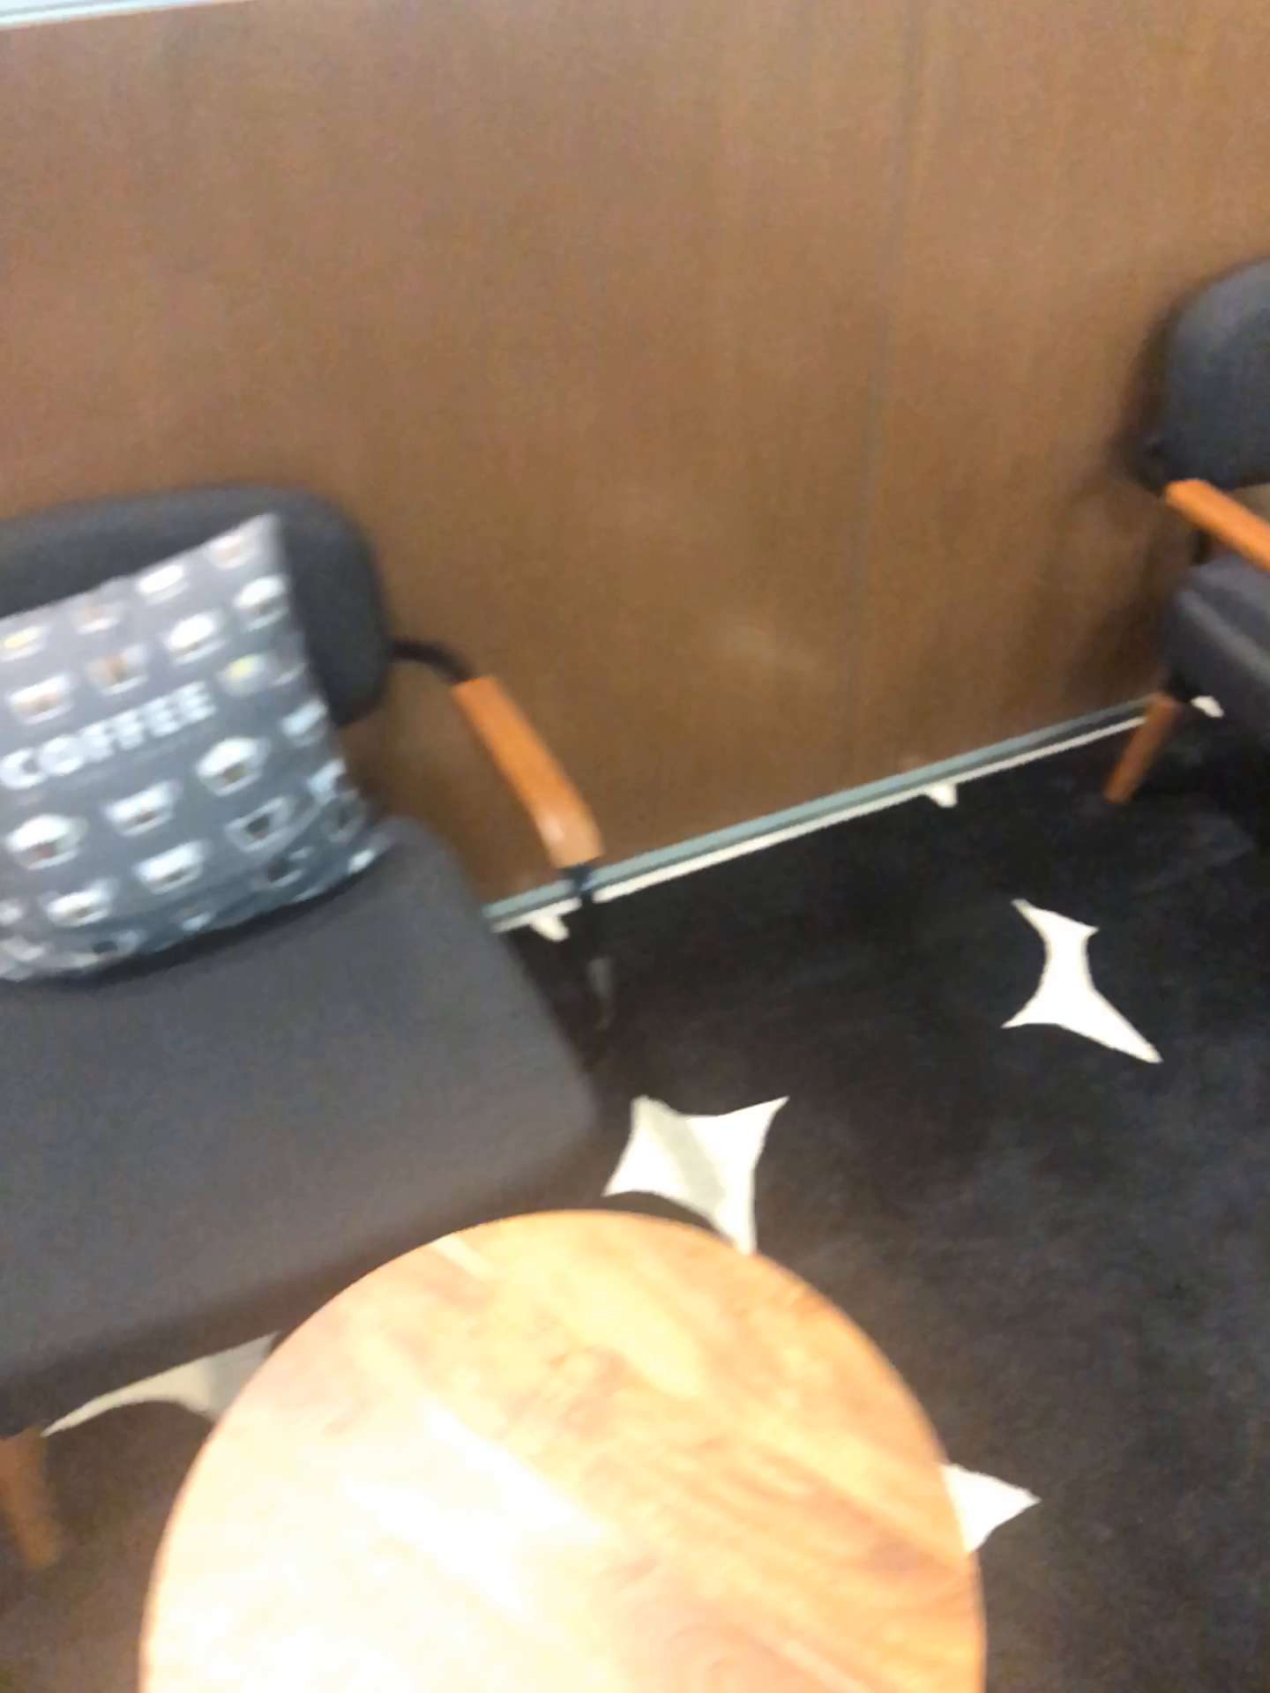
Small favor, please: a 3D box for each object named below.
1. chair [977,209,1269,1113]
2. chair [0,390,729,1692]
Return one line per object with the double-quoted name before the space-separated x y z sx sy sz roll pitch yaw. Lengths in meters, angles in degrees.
"chair" 0.932 -0.264 1.718 0.682 0.714 0.684 -16 40 -15
"chair" -0.375 0.126 1.198 0.732 0.714 0.573 -16 40 -15
